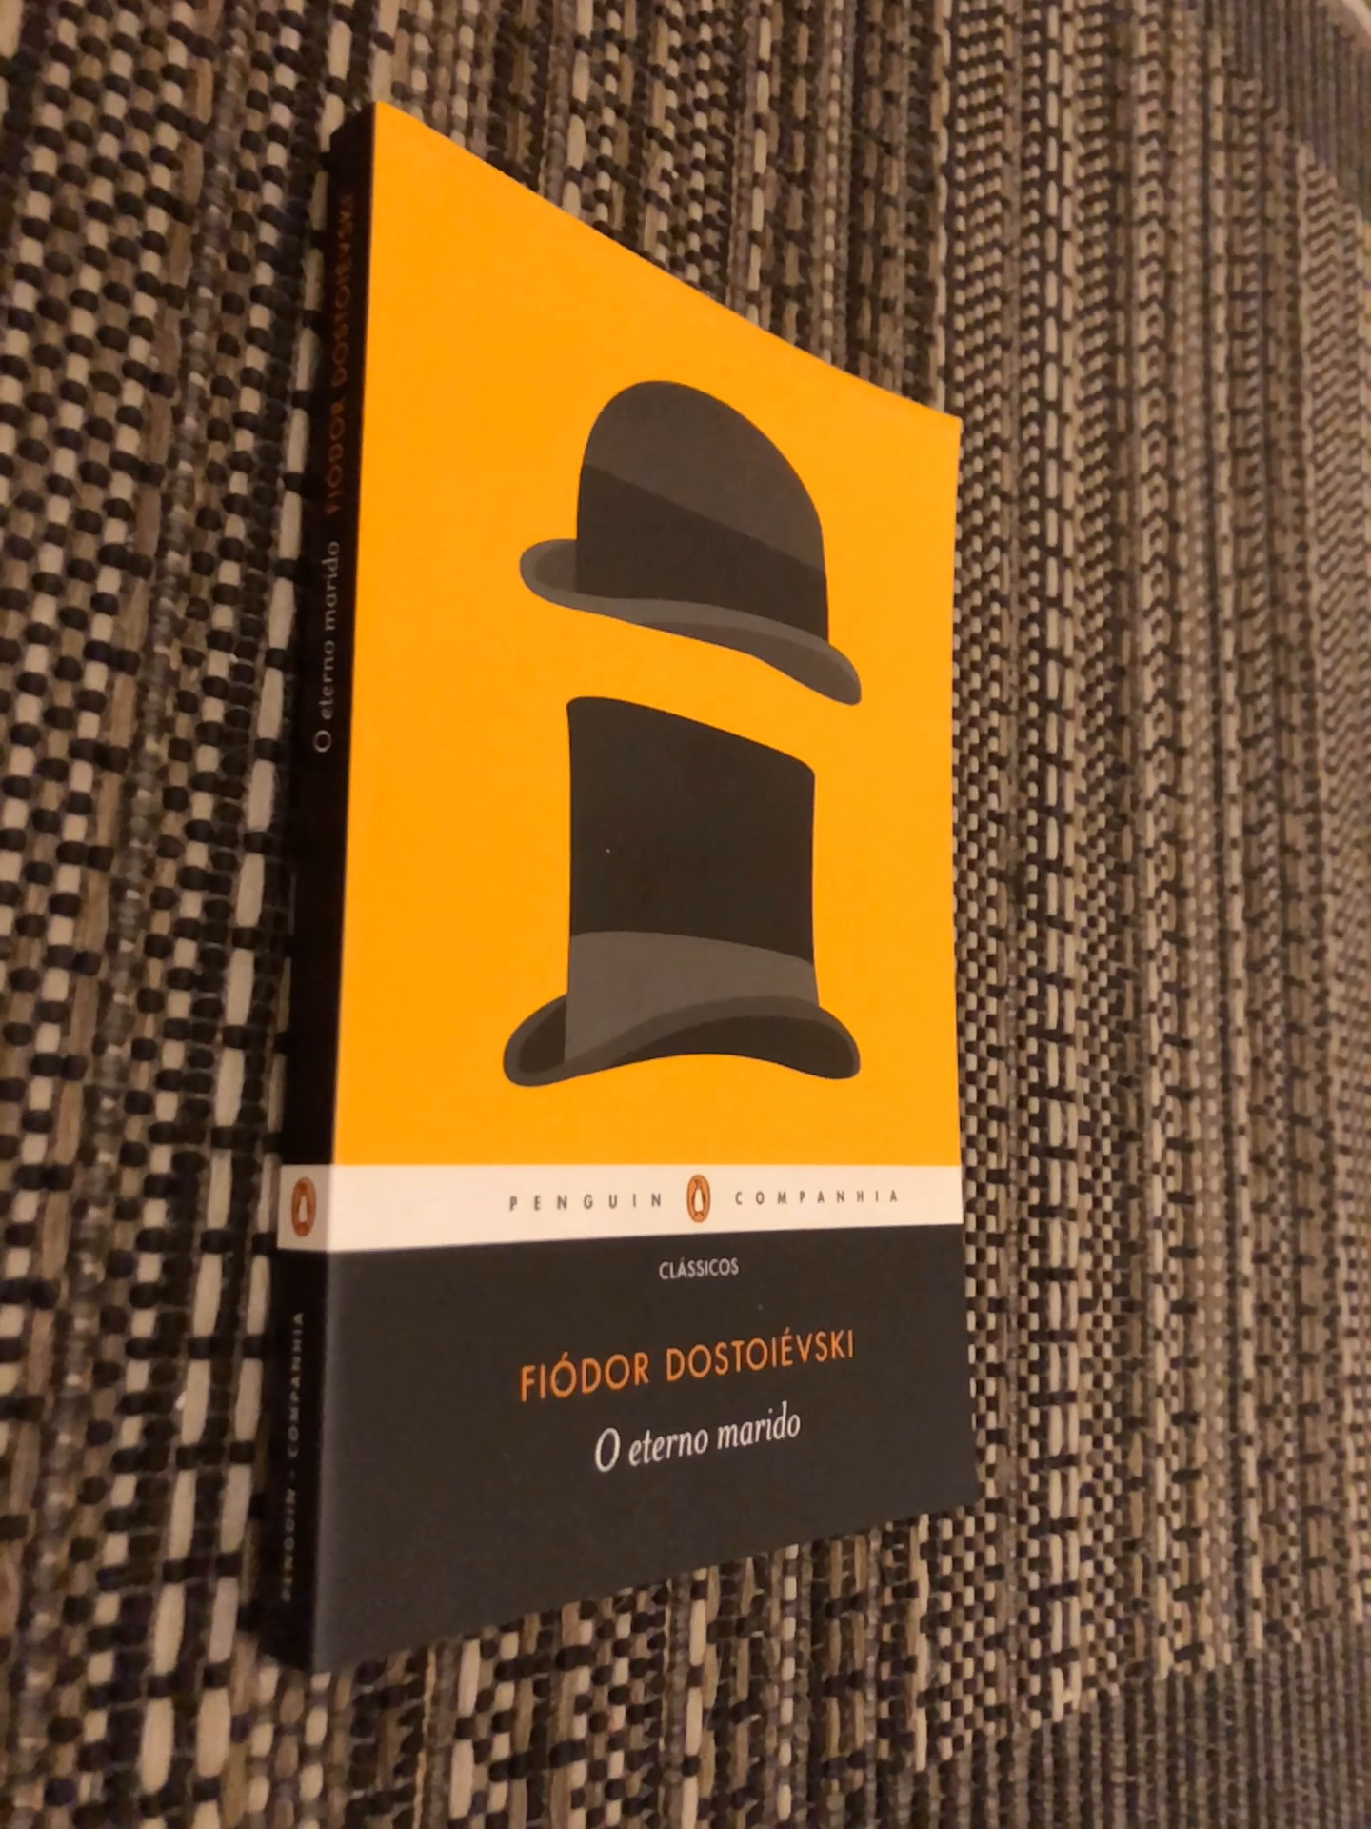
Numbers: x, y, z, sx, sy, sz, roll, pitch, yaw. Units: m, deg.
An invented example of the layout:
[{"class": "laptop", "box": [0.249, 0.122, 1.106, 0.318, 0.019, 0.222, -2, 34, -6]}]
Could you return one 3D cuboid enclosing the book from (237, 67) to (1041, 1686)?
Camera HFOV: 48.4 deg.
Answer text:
[{"class": "book", "box": [0.004, -0.003, 0.220, 0.131, 0.020, 0.180, 10, 76, -45]}]
